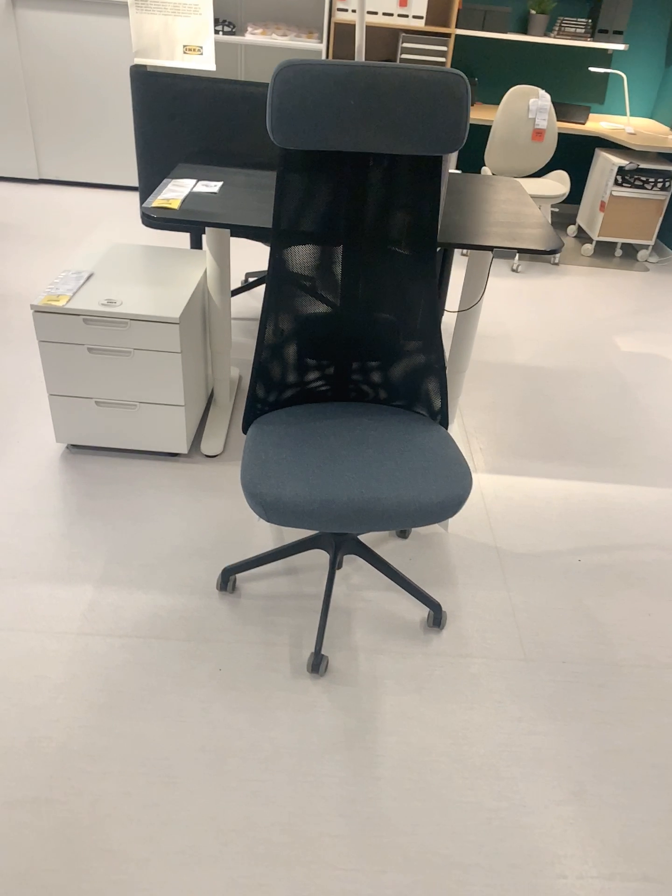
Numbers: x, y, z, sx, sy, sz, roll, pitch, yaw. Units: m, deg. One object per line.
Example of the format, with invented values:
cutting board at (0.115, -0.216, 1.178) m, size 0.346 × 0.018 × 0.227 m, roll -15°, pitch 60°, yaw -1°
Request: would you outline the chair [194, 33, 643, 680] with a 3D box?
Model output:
chair at (0.053, -0.175, 1.625) m, size 0.640 × 1.304 × 0.733 m, roll 2°, pitch 34°, yaw -5°
